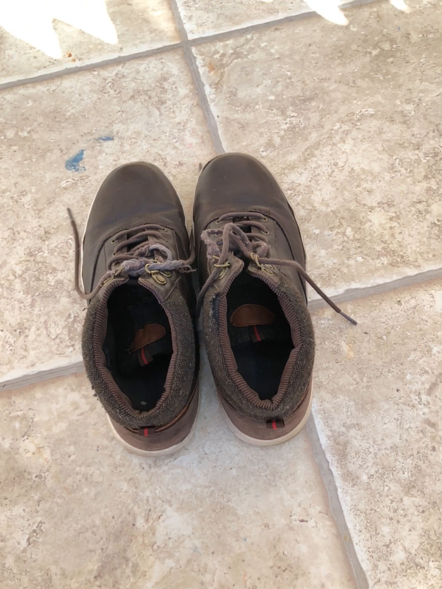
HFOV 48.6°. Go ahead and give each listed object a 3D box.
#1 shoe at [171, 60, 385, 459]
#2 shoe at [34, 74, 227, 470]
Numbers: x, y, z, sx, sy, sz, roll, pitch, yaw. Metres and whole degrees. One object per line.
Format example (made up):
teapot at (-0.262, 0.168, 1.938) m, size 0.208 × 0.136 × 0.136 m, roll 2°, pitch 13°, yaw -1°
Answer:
shoe at (0.033, -0.029, 0.425) m, size 0.110 × 0.150 × 0.301 m, roll -7°, pitch 65°, yaw 1°
shoe at (-0.075, -0.018, 0.431) m, size 0.110 × 0.150 × 0.301 m, roll -9°, pitch 65°, yaw 0°
